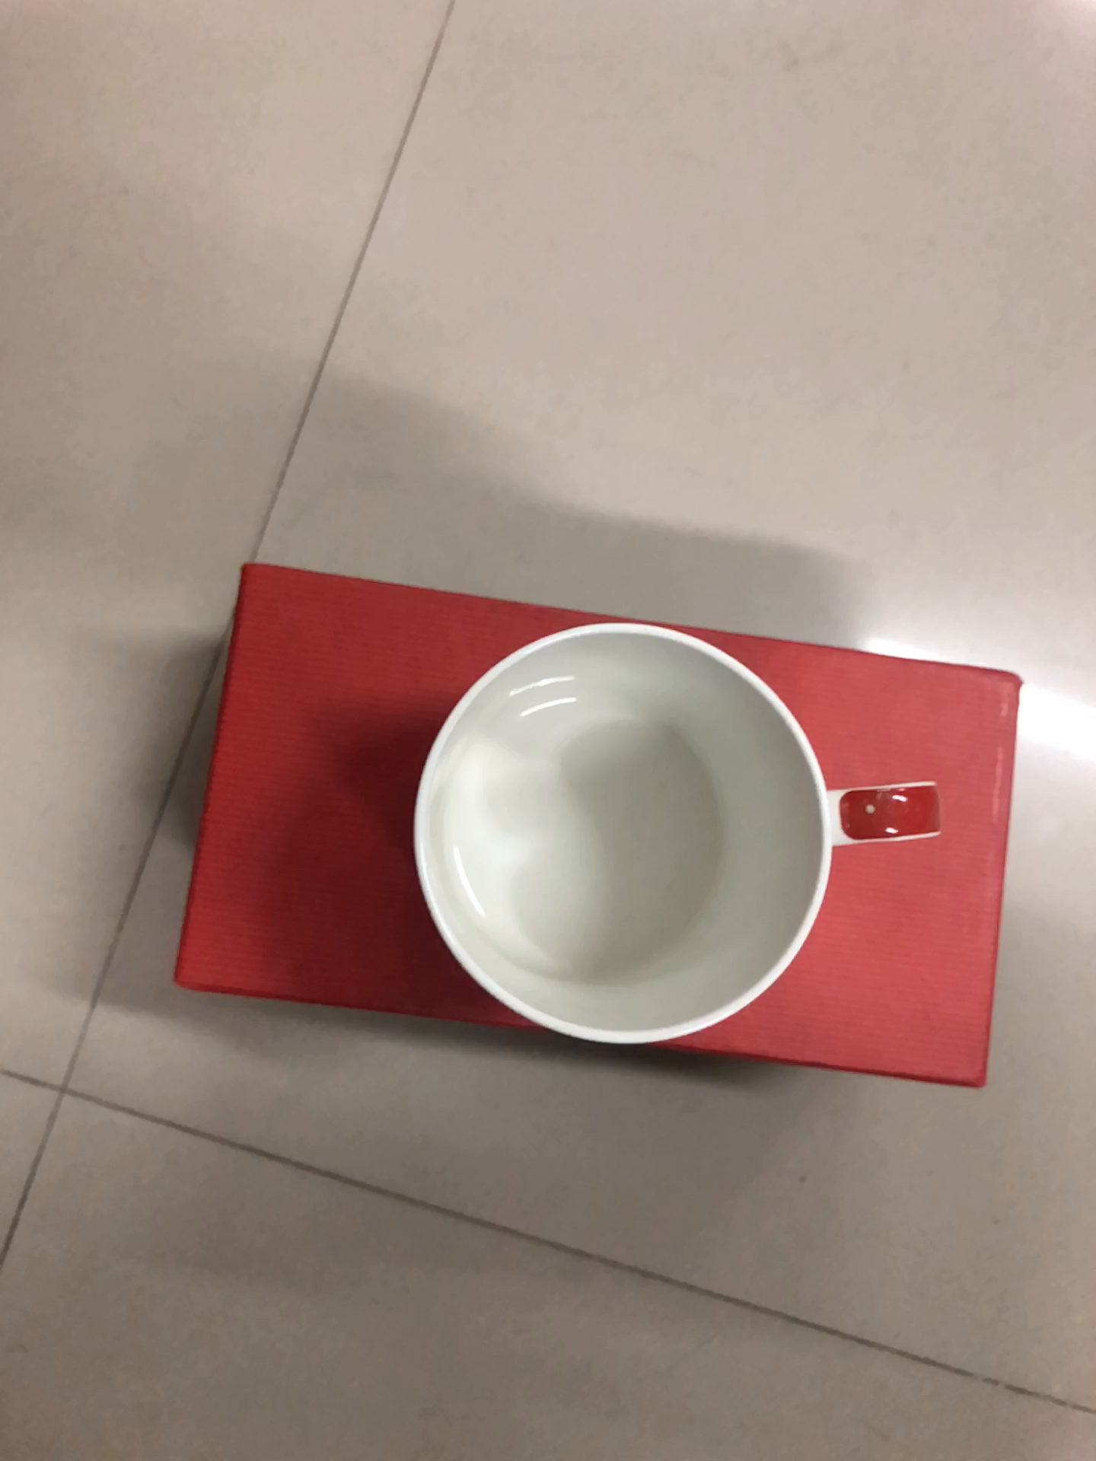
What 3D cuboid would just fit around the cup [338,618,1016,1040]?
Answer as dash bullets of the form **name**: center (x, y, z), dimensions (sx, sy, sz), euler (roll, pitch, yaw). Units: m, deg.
- **cup**: center (0.023, 0.023, 0.287), dimensions (0.130, 0.100, 0.080), euler (1, 85, -4)
